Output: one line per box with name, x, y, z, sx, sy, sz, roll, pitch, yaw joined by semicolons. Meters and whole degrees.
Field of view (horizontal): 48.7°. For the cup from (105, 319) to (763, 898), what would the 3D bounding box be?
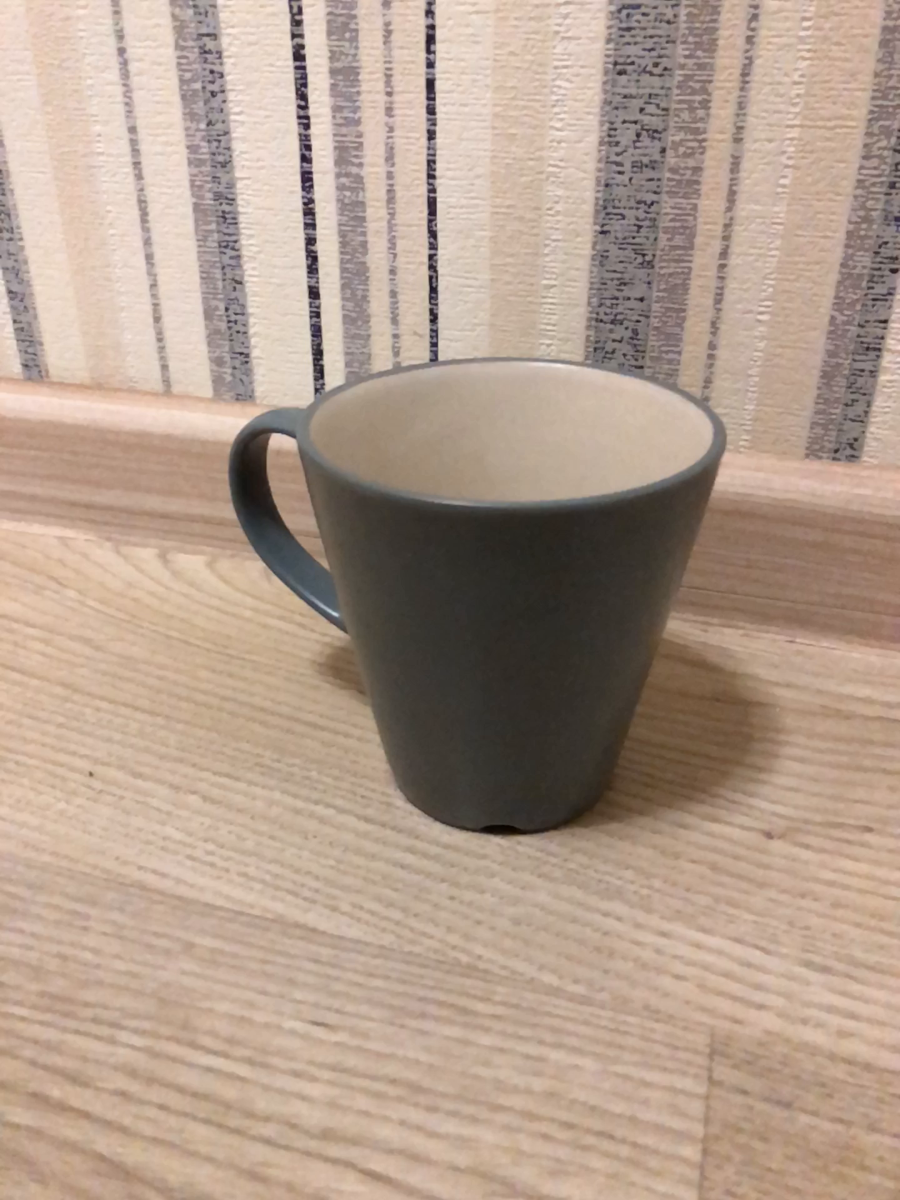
cup;0.000;-0.010;0.256;0.124;0.089;0.096;15;32;25
